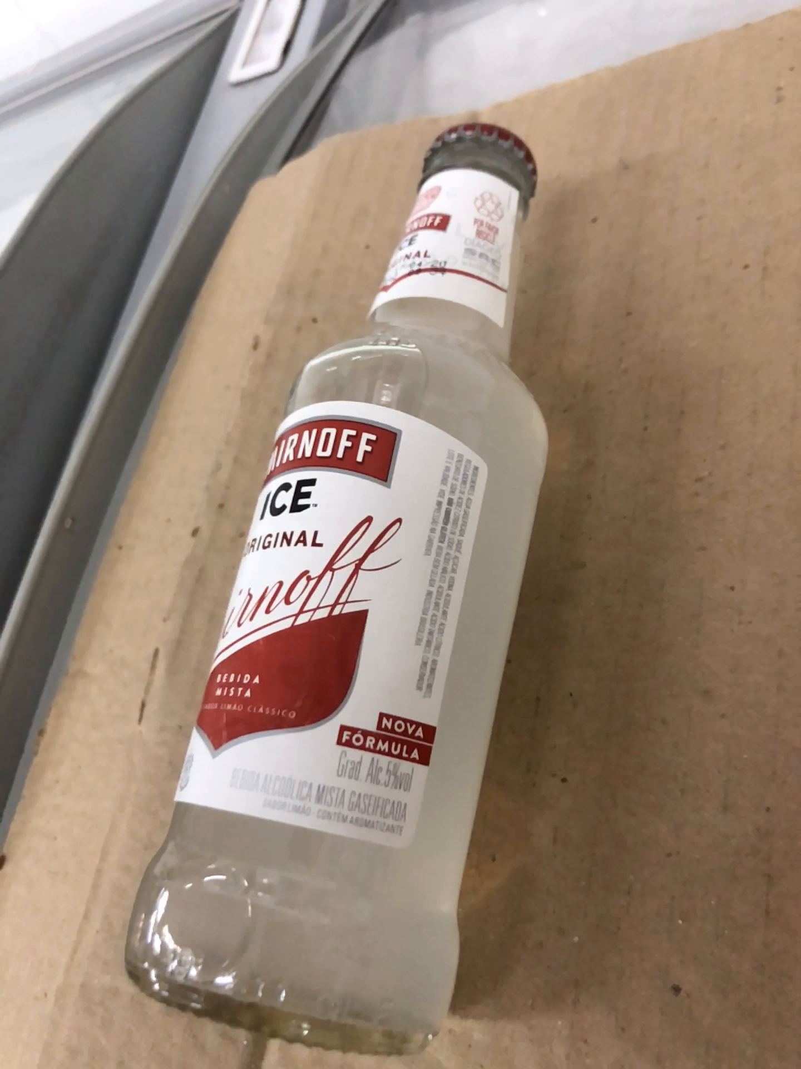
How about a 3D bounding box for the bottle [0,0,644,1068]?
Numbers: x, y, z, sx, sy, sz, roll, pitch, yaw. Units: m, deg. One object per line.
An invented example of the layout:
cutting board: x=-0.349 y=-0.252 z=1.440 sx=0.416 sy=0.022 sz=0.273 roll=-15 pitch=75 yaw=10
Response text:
bottle: x=-0.004 y=-0.009 z=0.183 sx=0.070 sy=0.050 sz=0.210 roll=-1 pitch=66 yaw=33
